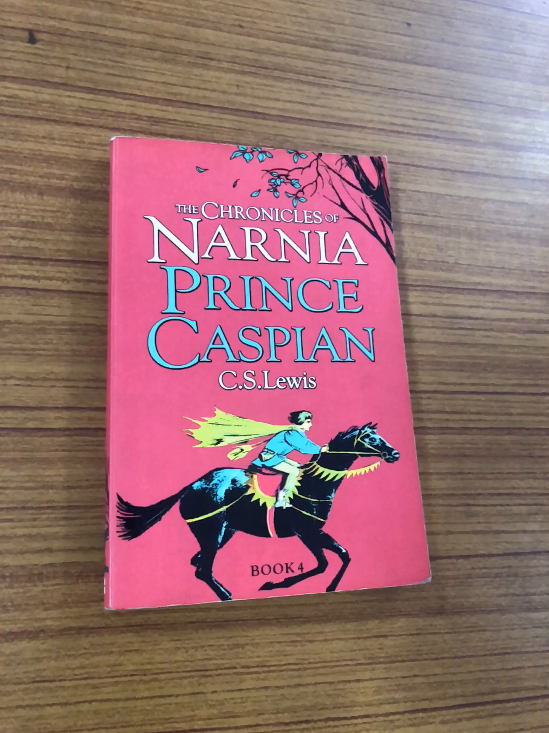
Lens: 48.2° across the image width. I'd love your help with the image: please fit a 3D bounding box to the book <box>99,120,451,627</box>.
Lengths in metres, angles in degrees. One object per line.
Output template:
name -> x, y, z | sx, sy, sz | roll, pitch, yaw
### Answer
book -> -0.003, -0.002, 0.255 | 0.130, 0.030, 0.190 | 1, 77, -14
